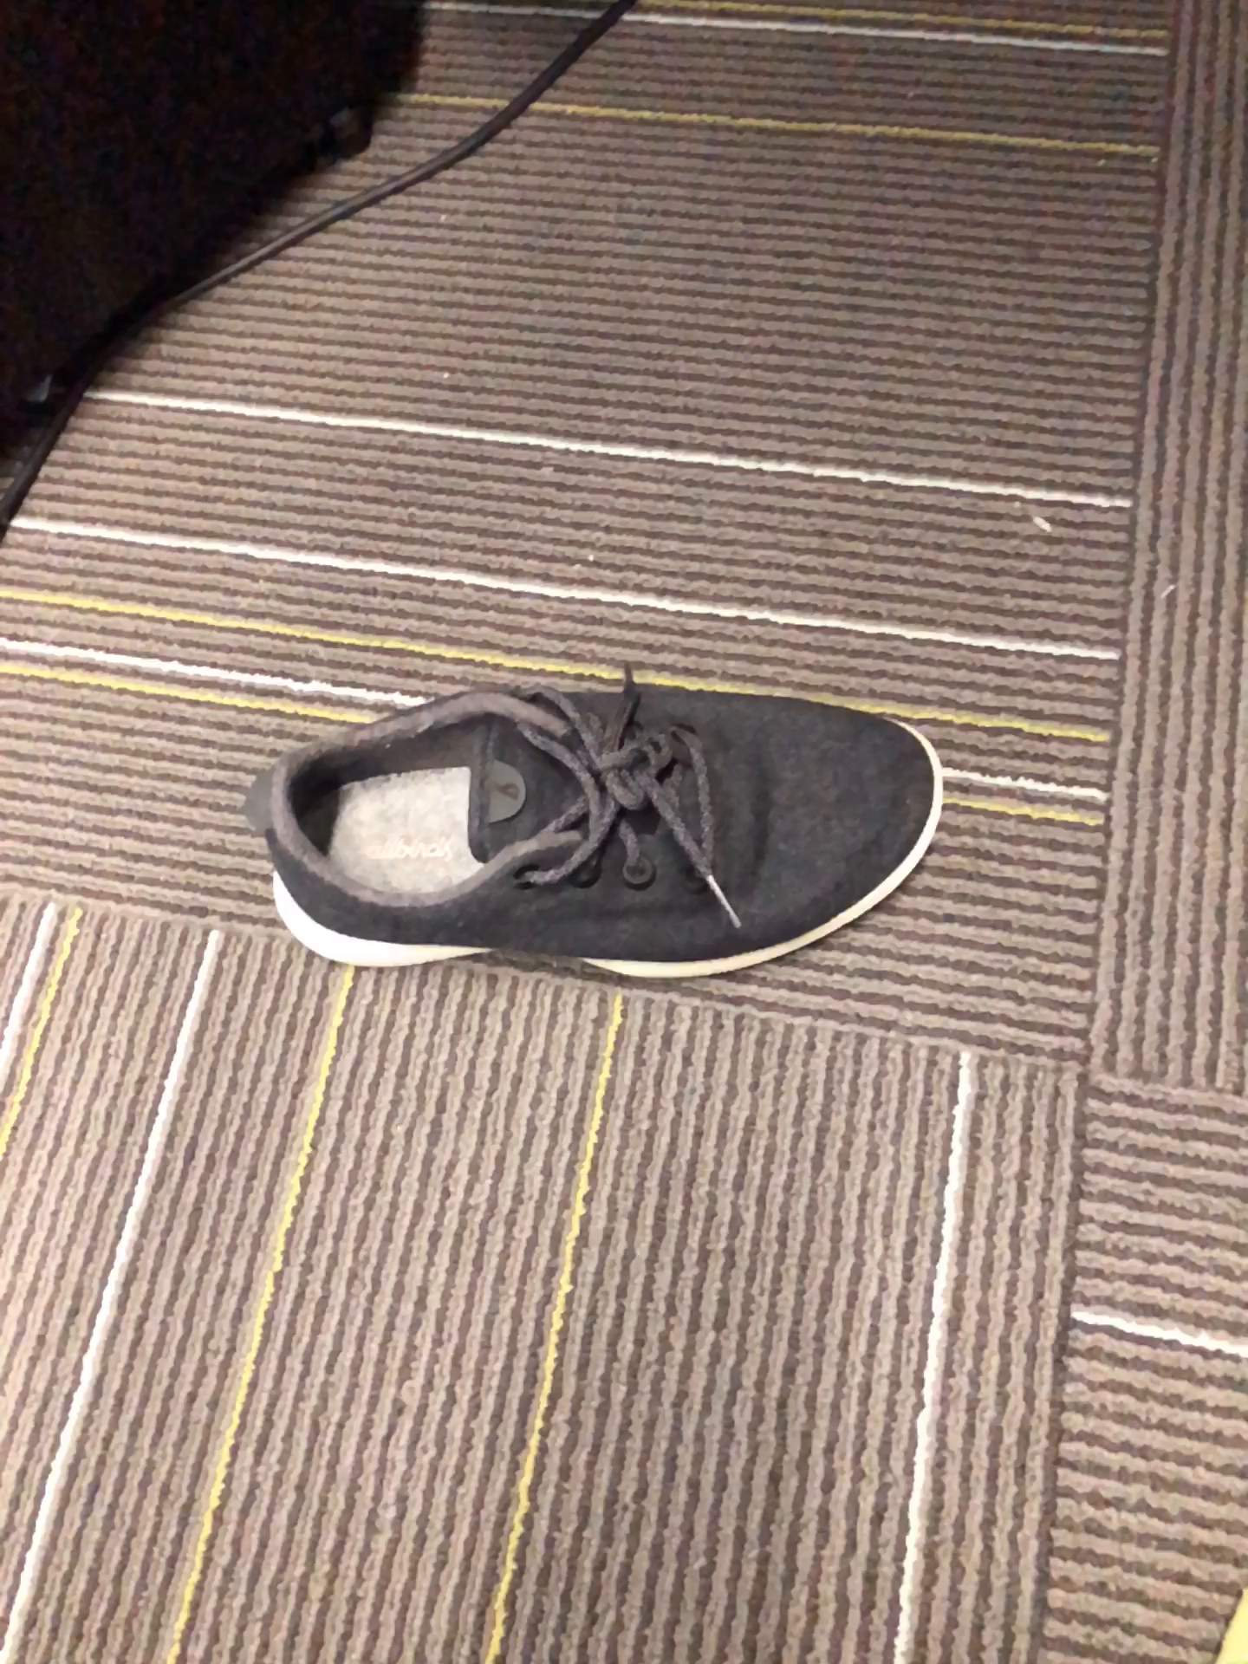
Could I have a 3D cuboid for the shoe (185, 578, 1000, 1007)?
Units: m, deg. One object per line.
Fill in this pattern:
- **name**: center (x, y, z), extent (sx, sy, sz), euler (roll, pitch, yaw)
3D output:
- **shoe**: center (-0.013, -0.011, 0.507), extent (0.270, 0.070, 0.120), euler (-4, 70, 5)
